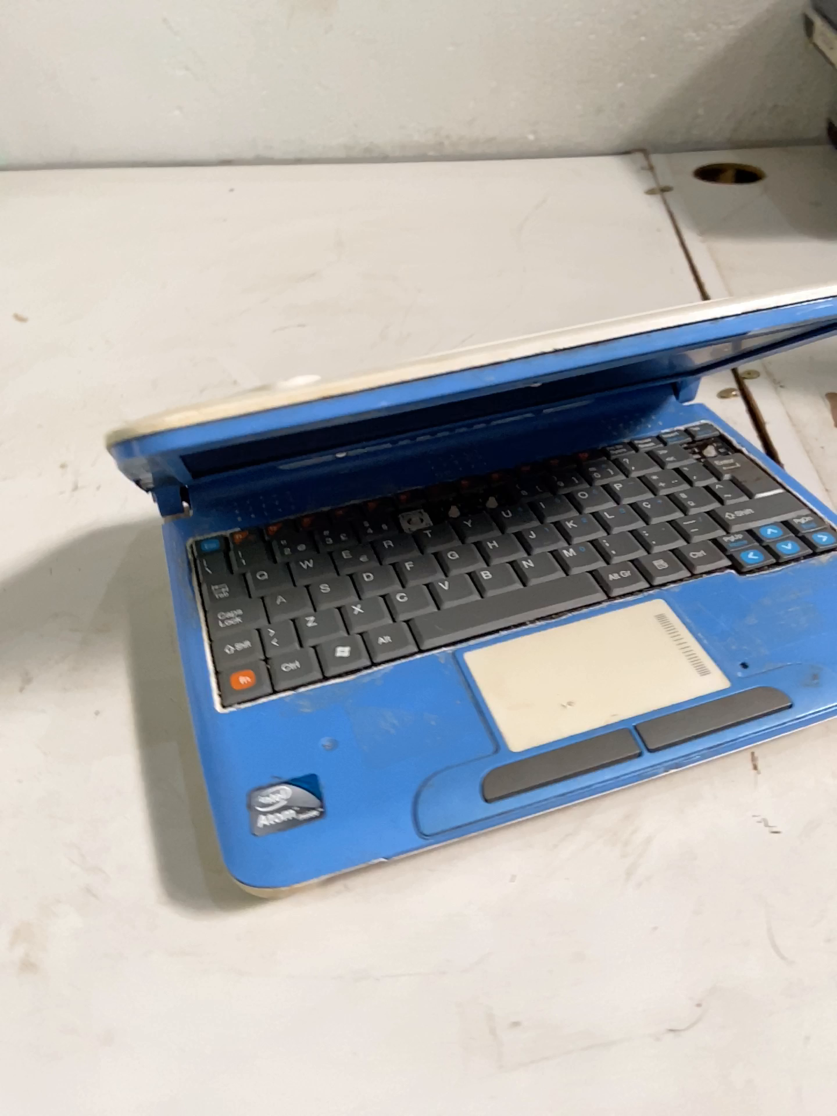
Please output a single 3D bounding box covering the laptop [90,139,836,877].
[{"bbox_3d":[0.036,-0.039,0.290,0.247,0.116,0.183,-14,41,-11],"label":"laptop"}]
